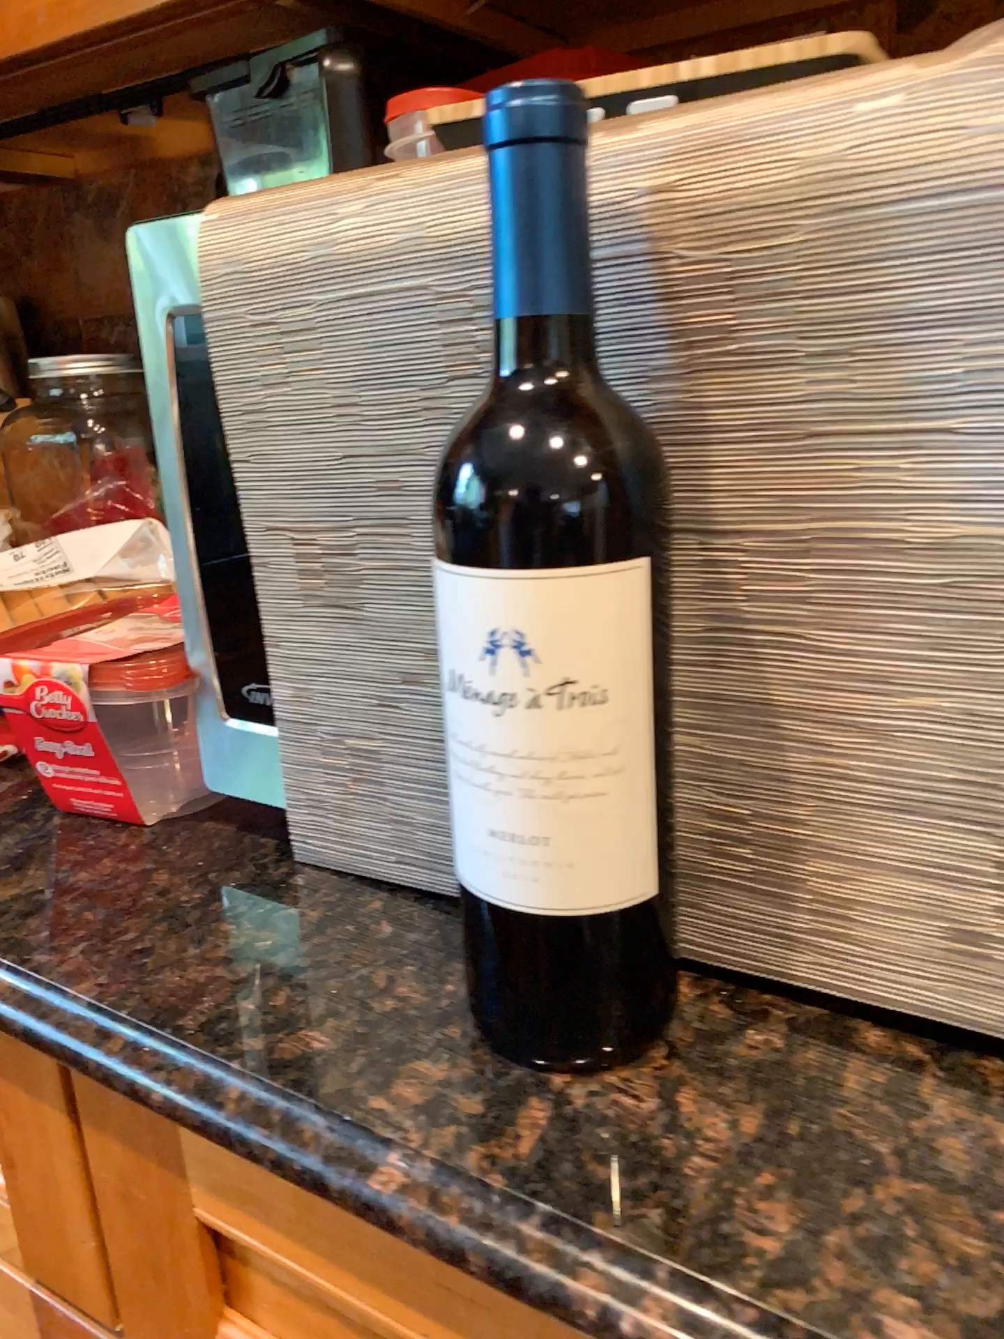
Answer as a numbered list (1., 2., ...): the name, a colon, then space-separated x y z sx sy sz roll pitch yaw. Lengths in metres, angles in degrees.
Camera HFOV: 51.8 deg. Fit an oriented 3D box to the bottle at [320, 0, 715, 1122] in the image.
1. bottle: 0.015 -0.024 0.328 0.080 0.309 0.080 -3 16 1
